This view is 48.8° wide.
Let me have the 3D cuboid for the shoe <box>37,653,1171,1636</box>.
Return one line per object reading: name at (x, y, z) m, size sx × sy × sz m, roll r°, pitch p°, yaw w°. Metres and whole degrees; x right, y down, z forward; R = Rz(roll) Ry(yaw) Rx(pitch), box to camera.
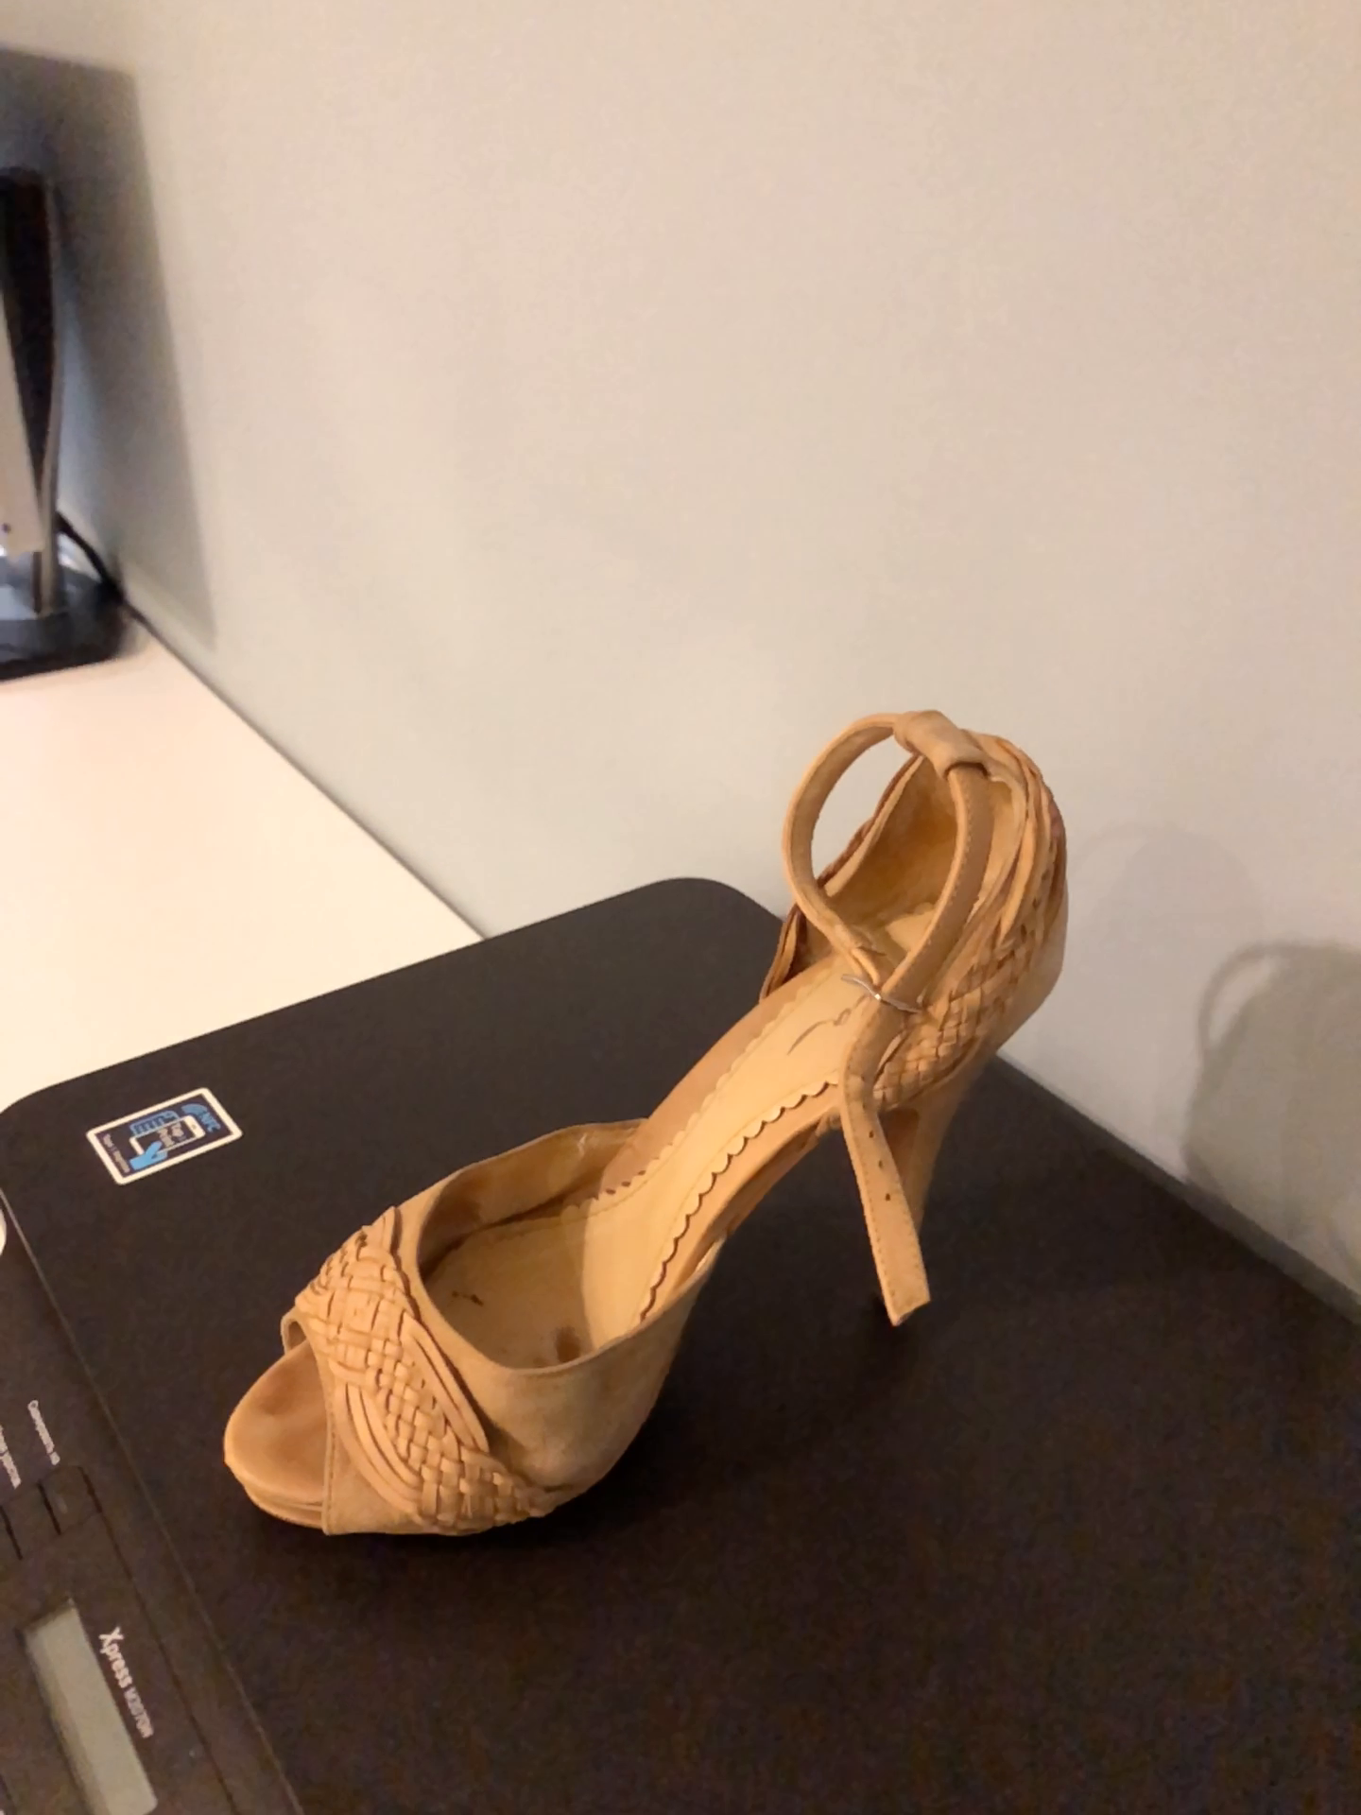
shoe at (-0.016, 0.046, 0.356) m, size 0.220 × 0.159 × 0.090 m, roll -12°, pitch 34°, yaw -21°
